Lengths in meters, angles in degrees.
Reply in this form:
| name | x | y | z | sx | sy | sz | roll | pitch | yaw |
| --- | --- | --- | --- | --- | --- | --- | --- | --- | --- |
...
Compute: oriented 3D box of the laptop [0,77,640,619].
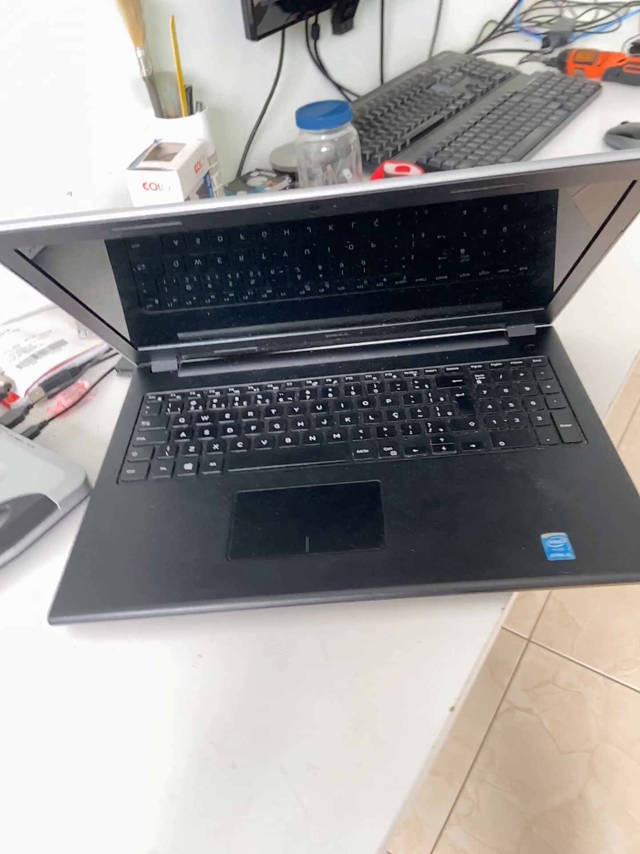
| name | x | y | z | sx | sy | sz | roll | pitch | yaw |
| --- | --- | --- | --- | --- | --- | --- | --- | --- | --- |
| laptop | 0.012 | -0.060 | 0.426 | 0.374 | 0.204 | 0.258 | -5 | 41 | 3 |
